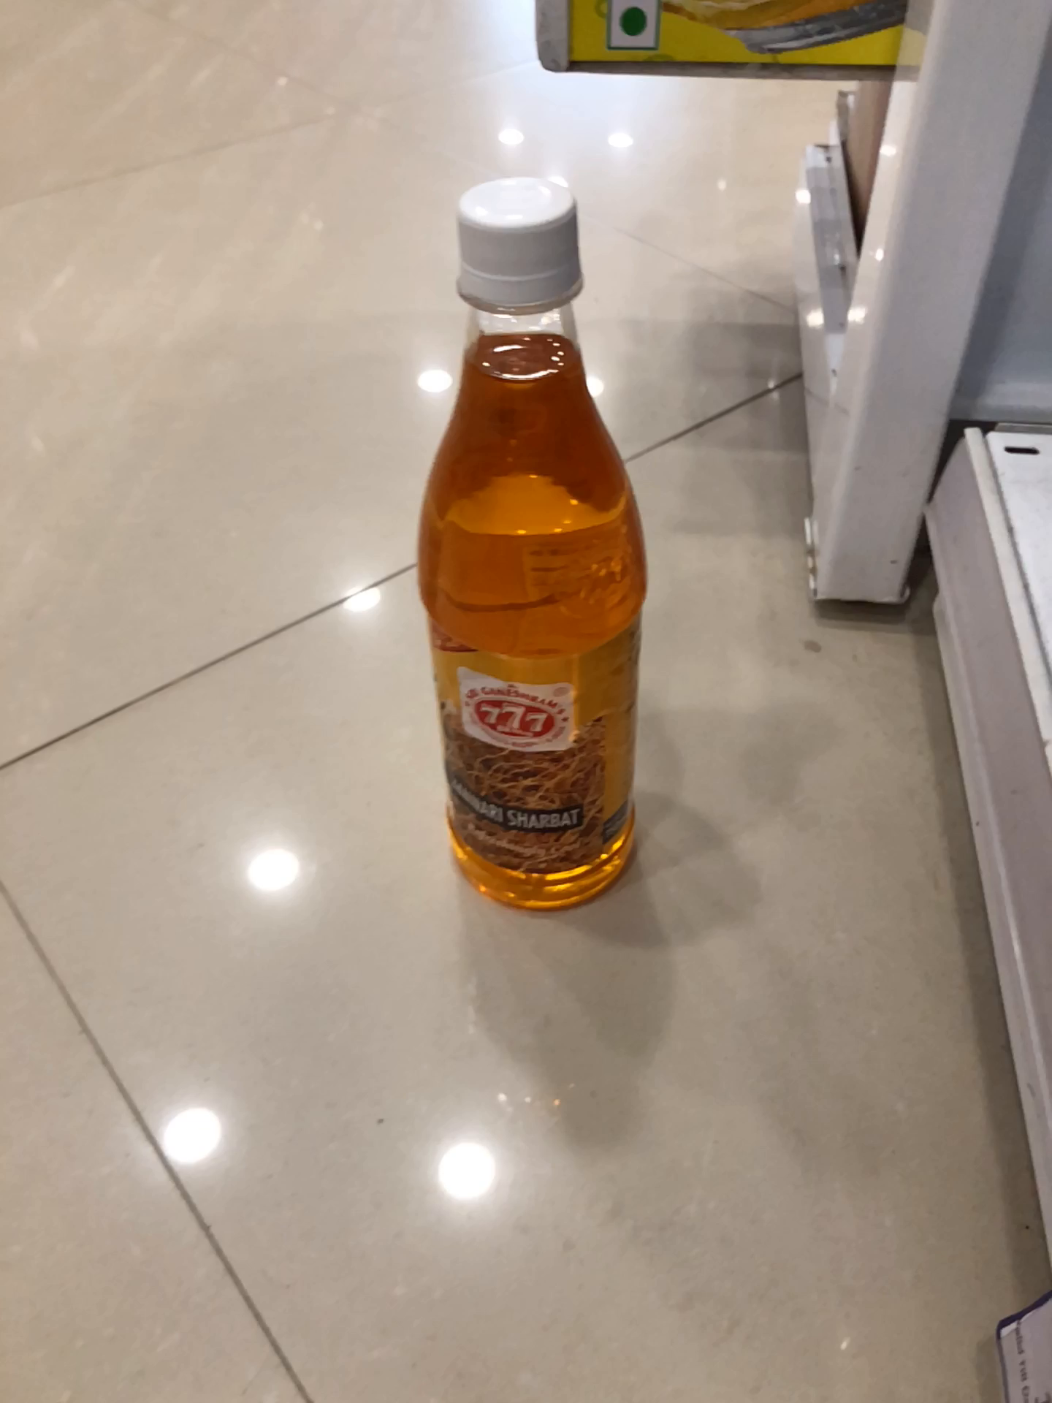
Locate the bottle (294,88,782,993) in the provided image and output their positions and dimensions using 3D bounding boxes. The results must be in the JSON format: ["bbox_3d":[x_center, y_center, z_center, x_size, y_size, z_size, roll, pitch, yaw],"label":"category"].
[{"bbox_3d":[0.010,-0.034,0.413,0.100,0.298,0.101,-1,45,1],"label":"bottle"}]
